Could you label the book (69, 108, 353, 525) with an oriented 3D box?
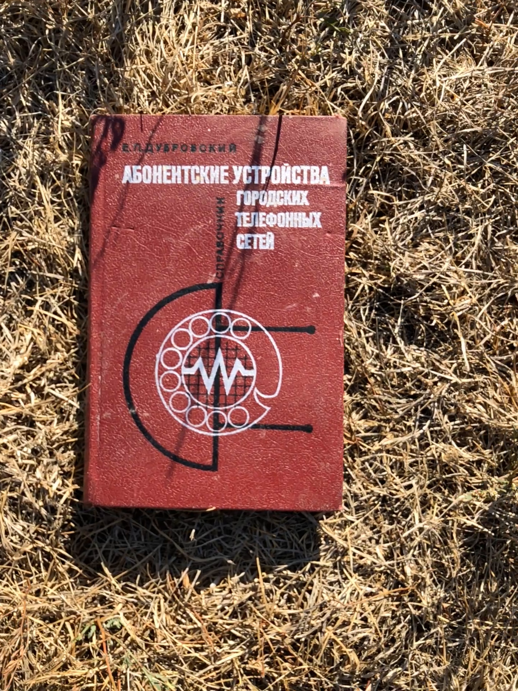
[{"bbox_3d":[-0.025,-0.015,0.313,0.141,0.030,0.211,1,89,-1],"label":"book"}]
